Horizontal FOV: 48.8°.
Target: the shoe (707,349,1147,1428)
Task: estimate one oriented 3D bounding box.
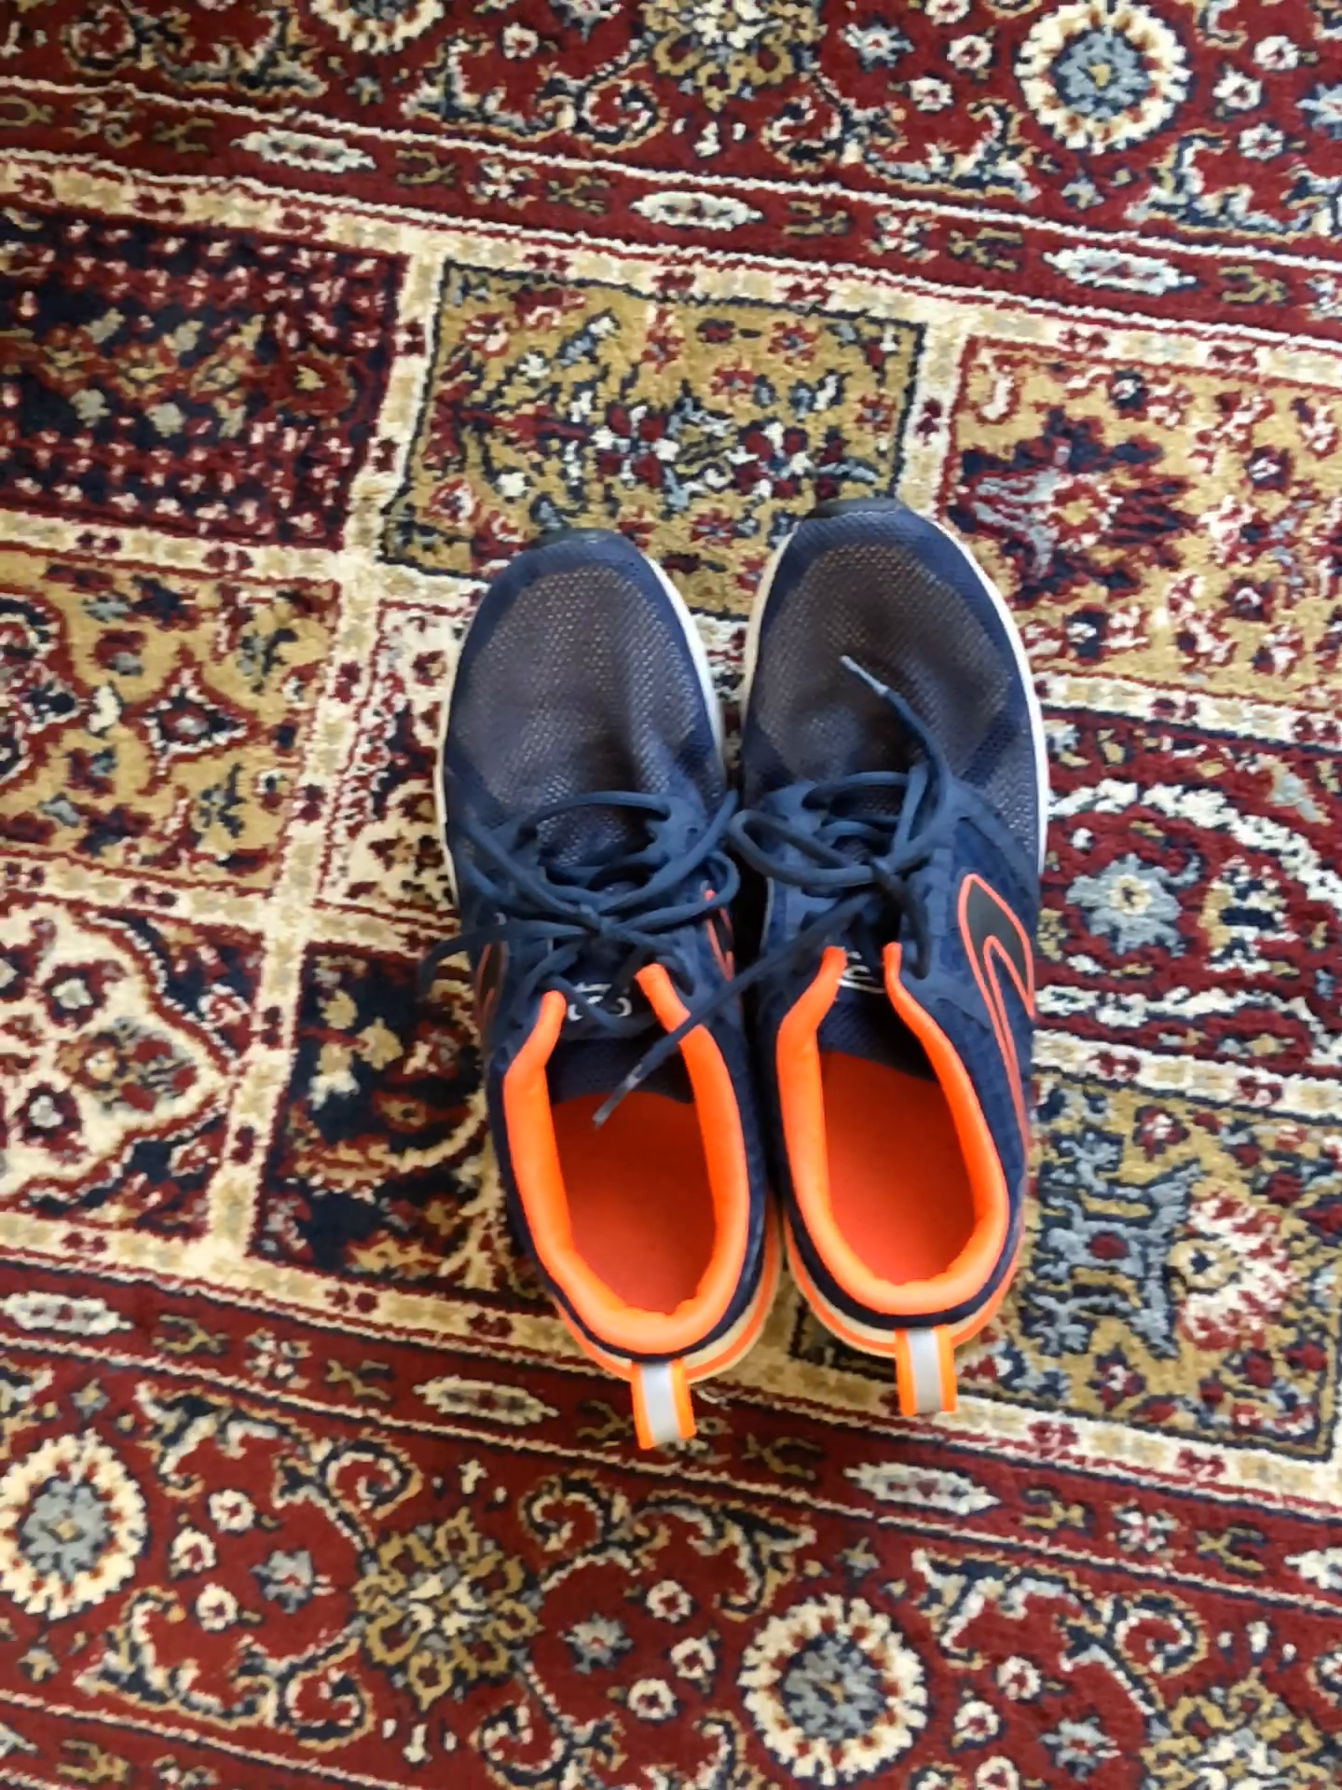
[{"bbox_3d":[0.083,0.000,0.522,0.120,0.130,0.330,-2,86,6],"label":"shoe"}]

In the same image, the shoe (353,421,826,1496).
[{"bbox_3d":[-0.022,0.022,0.533,0.120,0.130,0.330,-6,85,6],"label":"shoe"}]
